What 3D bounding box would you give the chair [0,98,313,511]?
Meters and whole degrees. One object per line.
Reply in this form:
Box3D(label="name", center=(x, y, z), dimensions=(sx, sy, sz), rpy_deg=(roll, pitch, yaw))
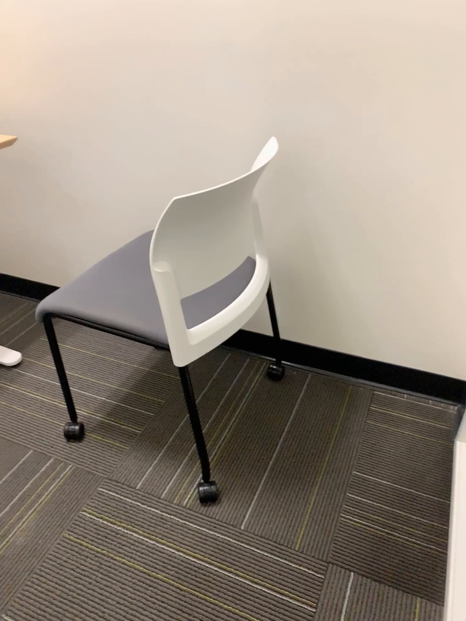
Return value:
Box3D(label="chair", center=(-0.167, -0.061, 1.265), dimensions=(0.541, 0.805, 0.602), rpy_deg=(13, 36, 21))
